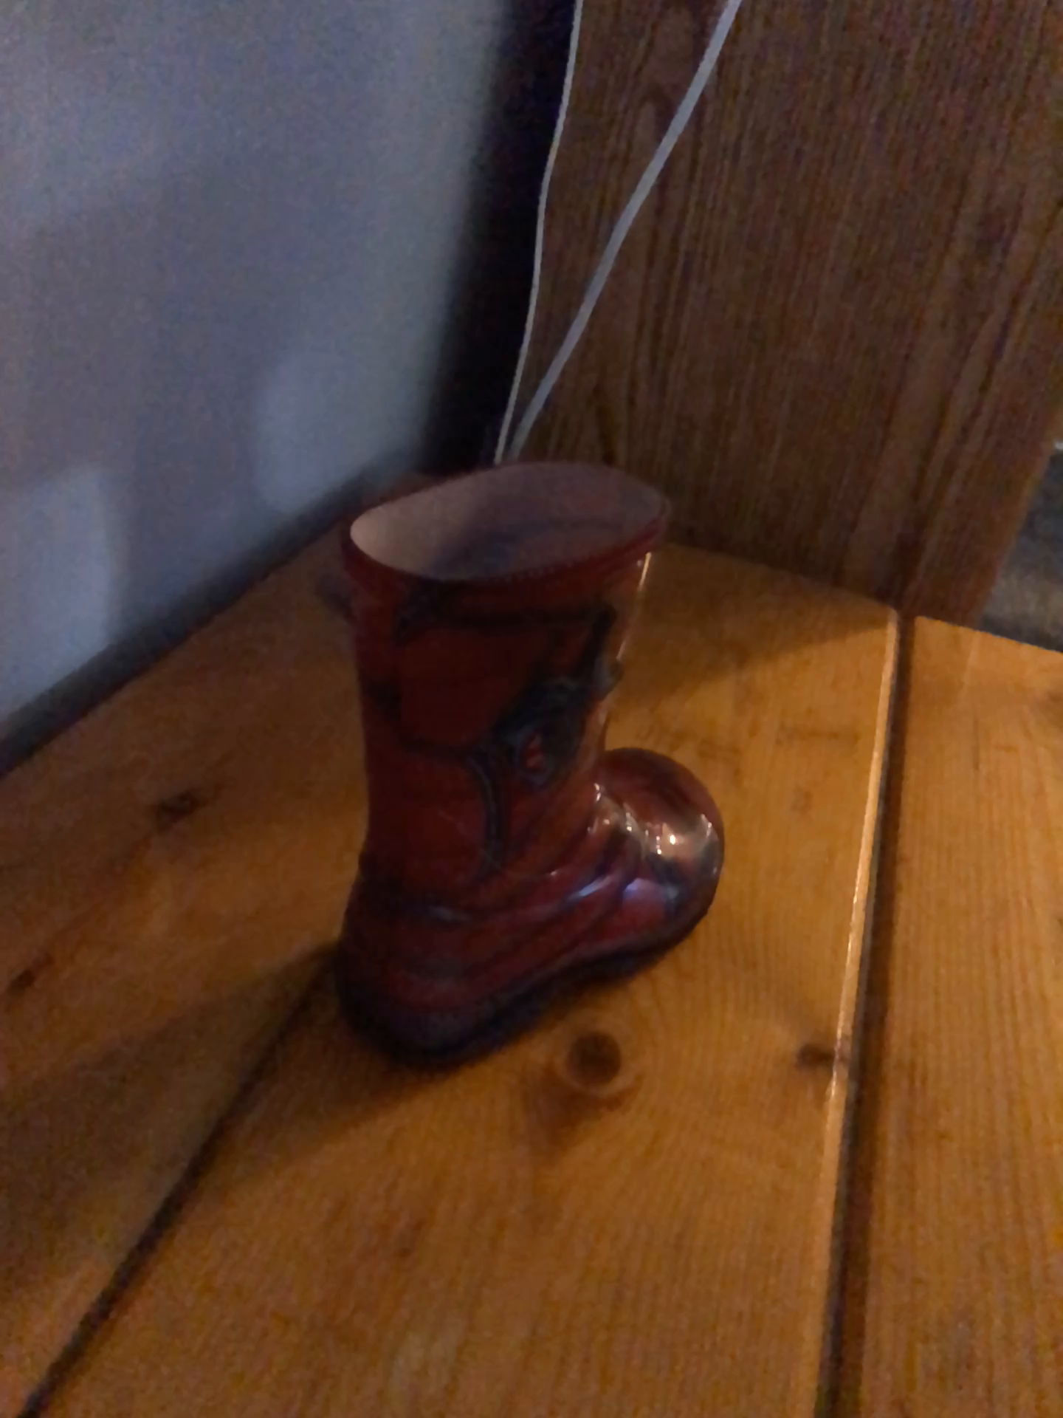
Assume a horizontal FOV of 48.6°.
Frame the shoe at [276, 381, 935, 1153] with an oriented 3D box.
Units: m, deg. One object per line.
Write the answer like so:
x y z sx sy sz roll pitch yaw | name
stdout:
0.020 0.007 0.349 0.080 0.169 0.160 33 37 30 | shoe
